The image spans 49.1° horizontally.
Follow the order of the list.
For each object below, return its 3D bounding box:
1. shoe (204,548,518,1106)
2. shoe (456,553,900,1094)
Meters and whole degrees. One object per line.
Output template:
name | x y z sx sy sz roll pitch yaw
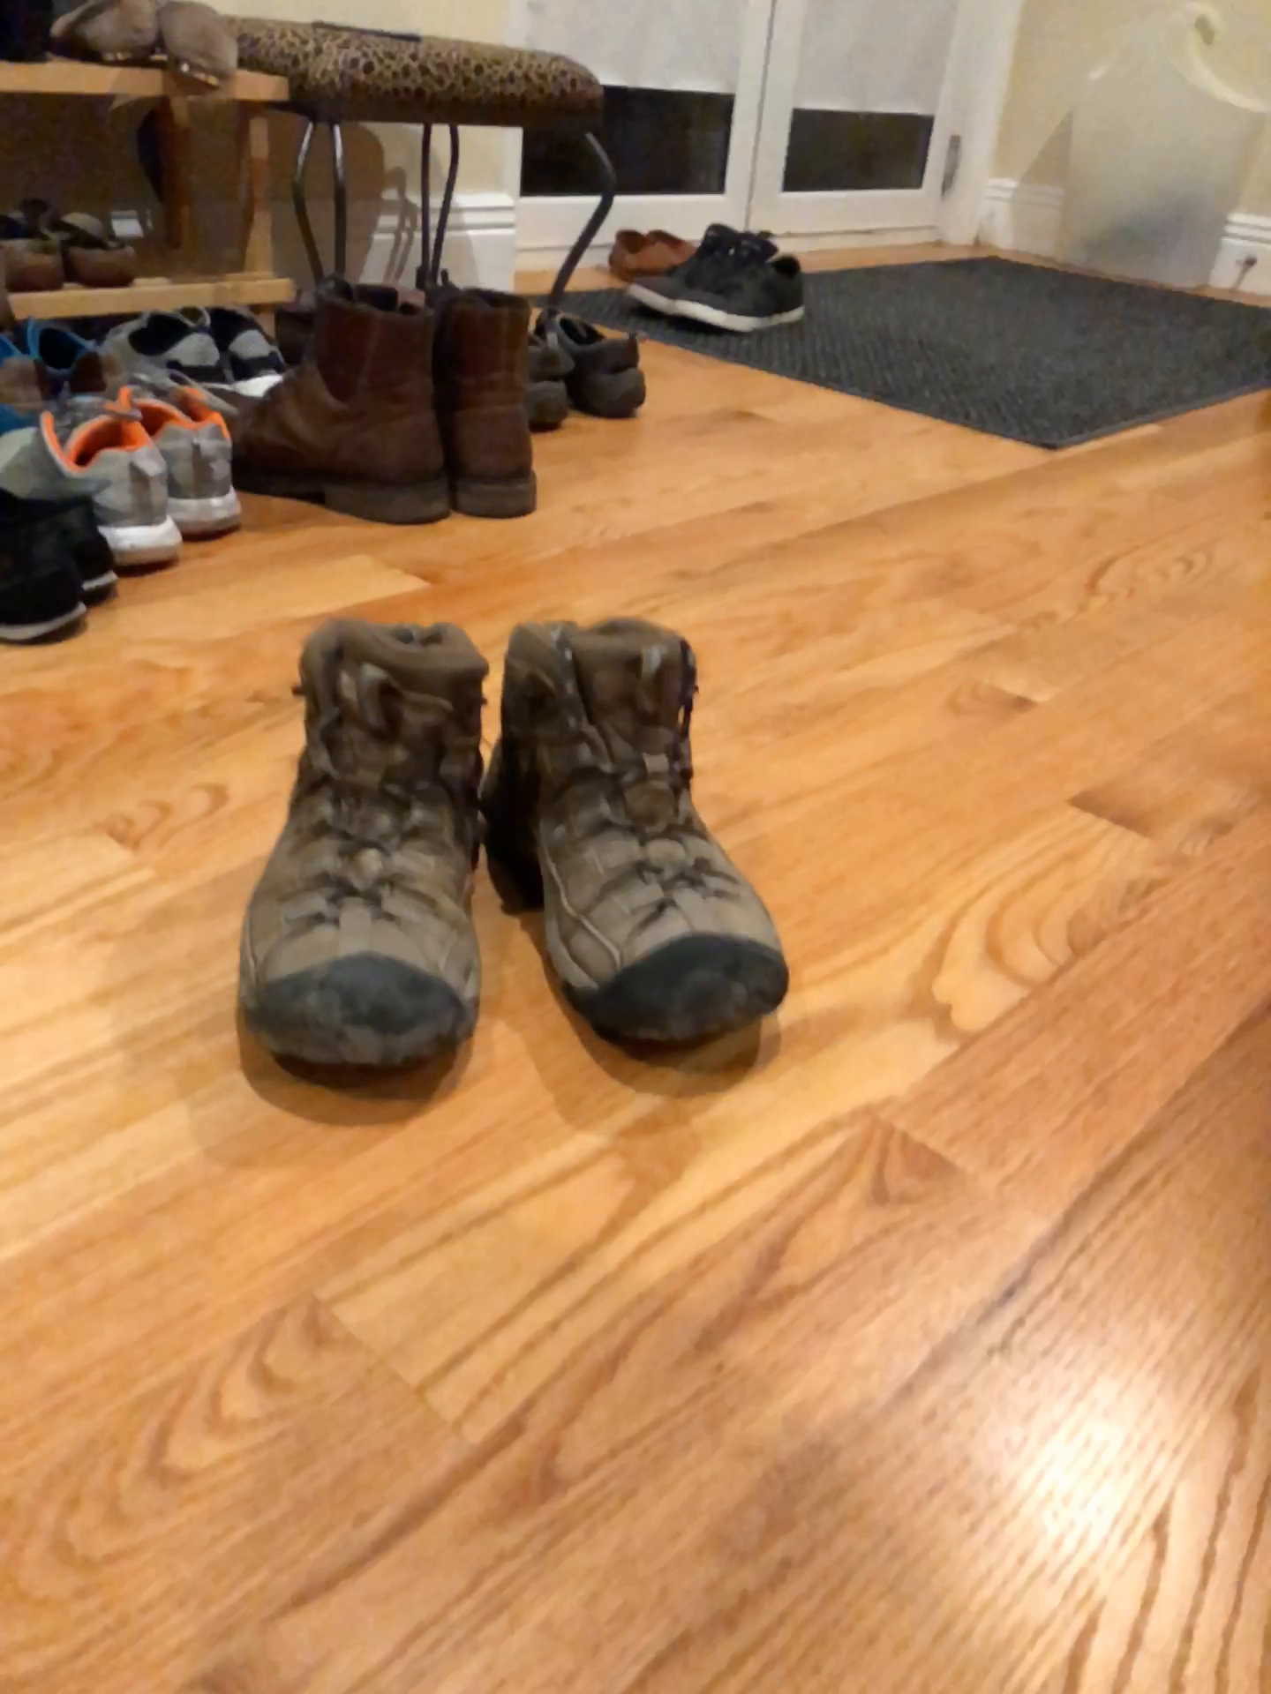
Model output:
shoe | -0.114 -0.023 0.630 0.107 0.139 0.261 2 30 -8
shoe | 0.001 -0.028 0.660 0.107 0.139 0.261 -6 32 -20
